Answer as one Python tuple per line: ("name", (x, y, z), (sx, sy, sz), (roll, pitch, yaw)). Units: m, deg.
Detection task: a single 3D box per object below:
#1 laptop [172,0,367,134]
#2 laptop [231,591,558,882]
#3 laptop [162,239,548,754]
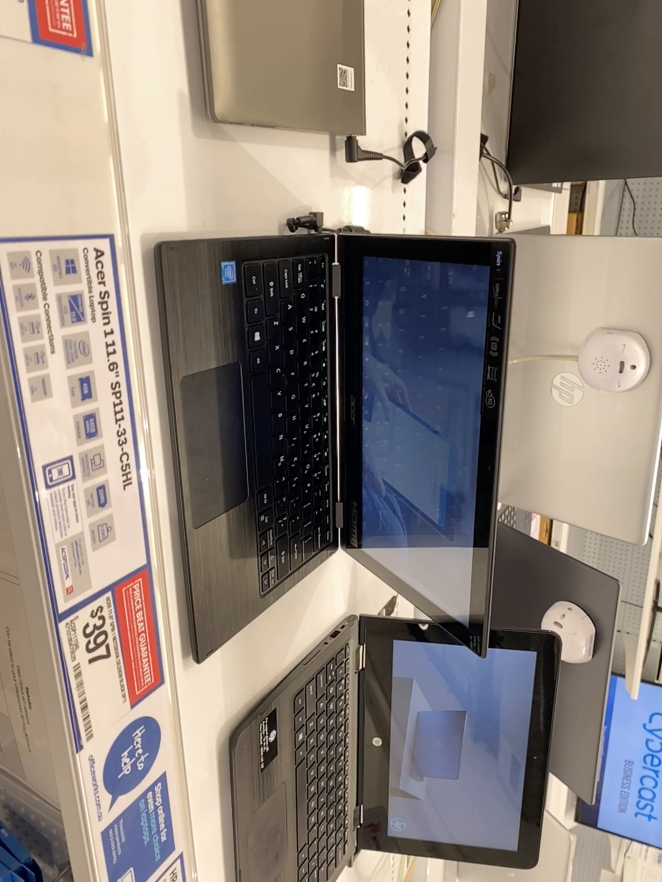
("laptop", (-0.025, -0.367, 0.461), (0.195, 0.001, 0.284), (-27, 119, -54))
("laptop", (0.083, 0.376, 0.683), (0.298, 0.189, 0.324), (-28, 122, -54))
("laptop", (0.027, 0.009, 0.483), (0.197, 0.174, 0.290), (-26, 121, -54))
